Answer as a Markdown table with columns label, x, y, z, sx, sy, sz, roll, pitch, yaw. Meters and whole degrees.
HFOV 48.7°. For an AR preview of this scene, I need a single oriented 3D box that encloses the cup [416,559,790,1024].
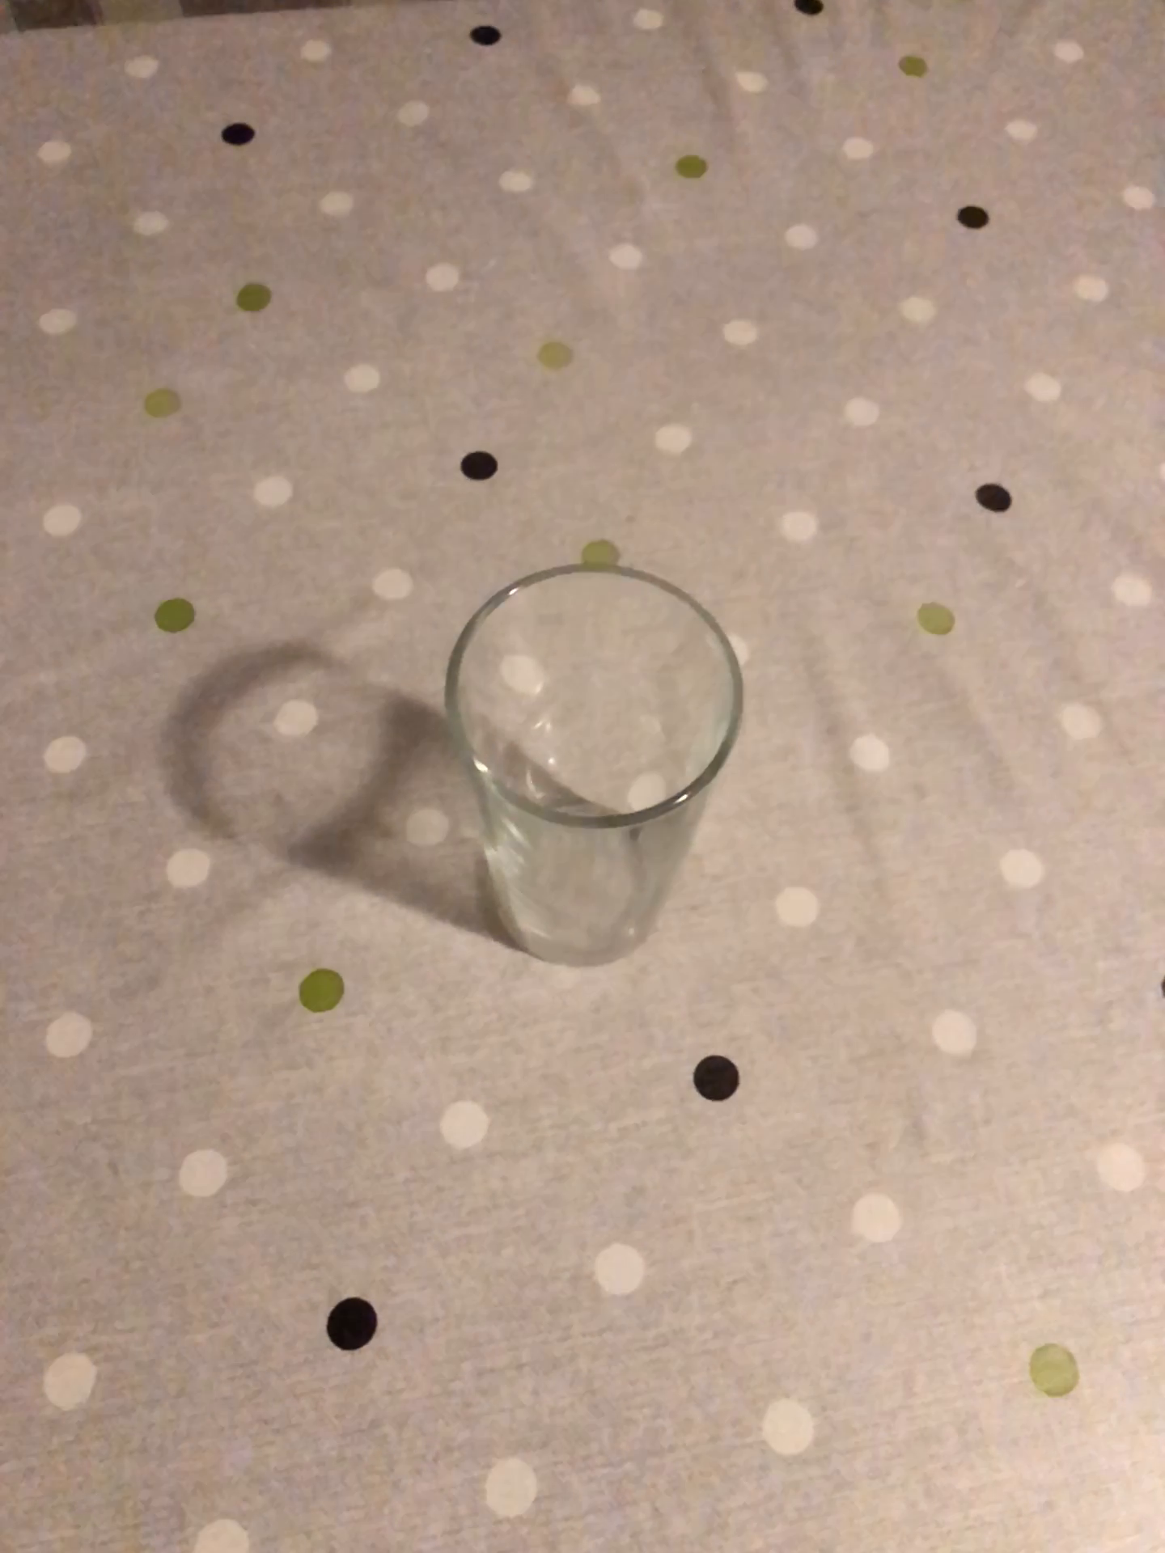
| label | x | y | z | sx | sy | sz | roll | pitch | yaw |
| --- | --- | --- | --- | --- | --- | --- | --- | --- | --- |
| cup | 0.002 | 0.011 | 0.326 | 0.069 | 0.118 | 0.068 | 0 | 65 | -1 |
